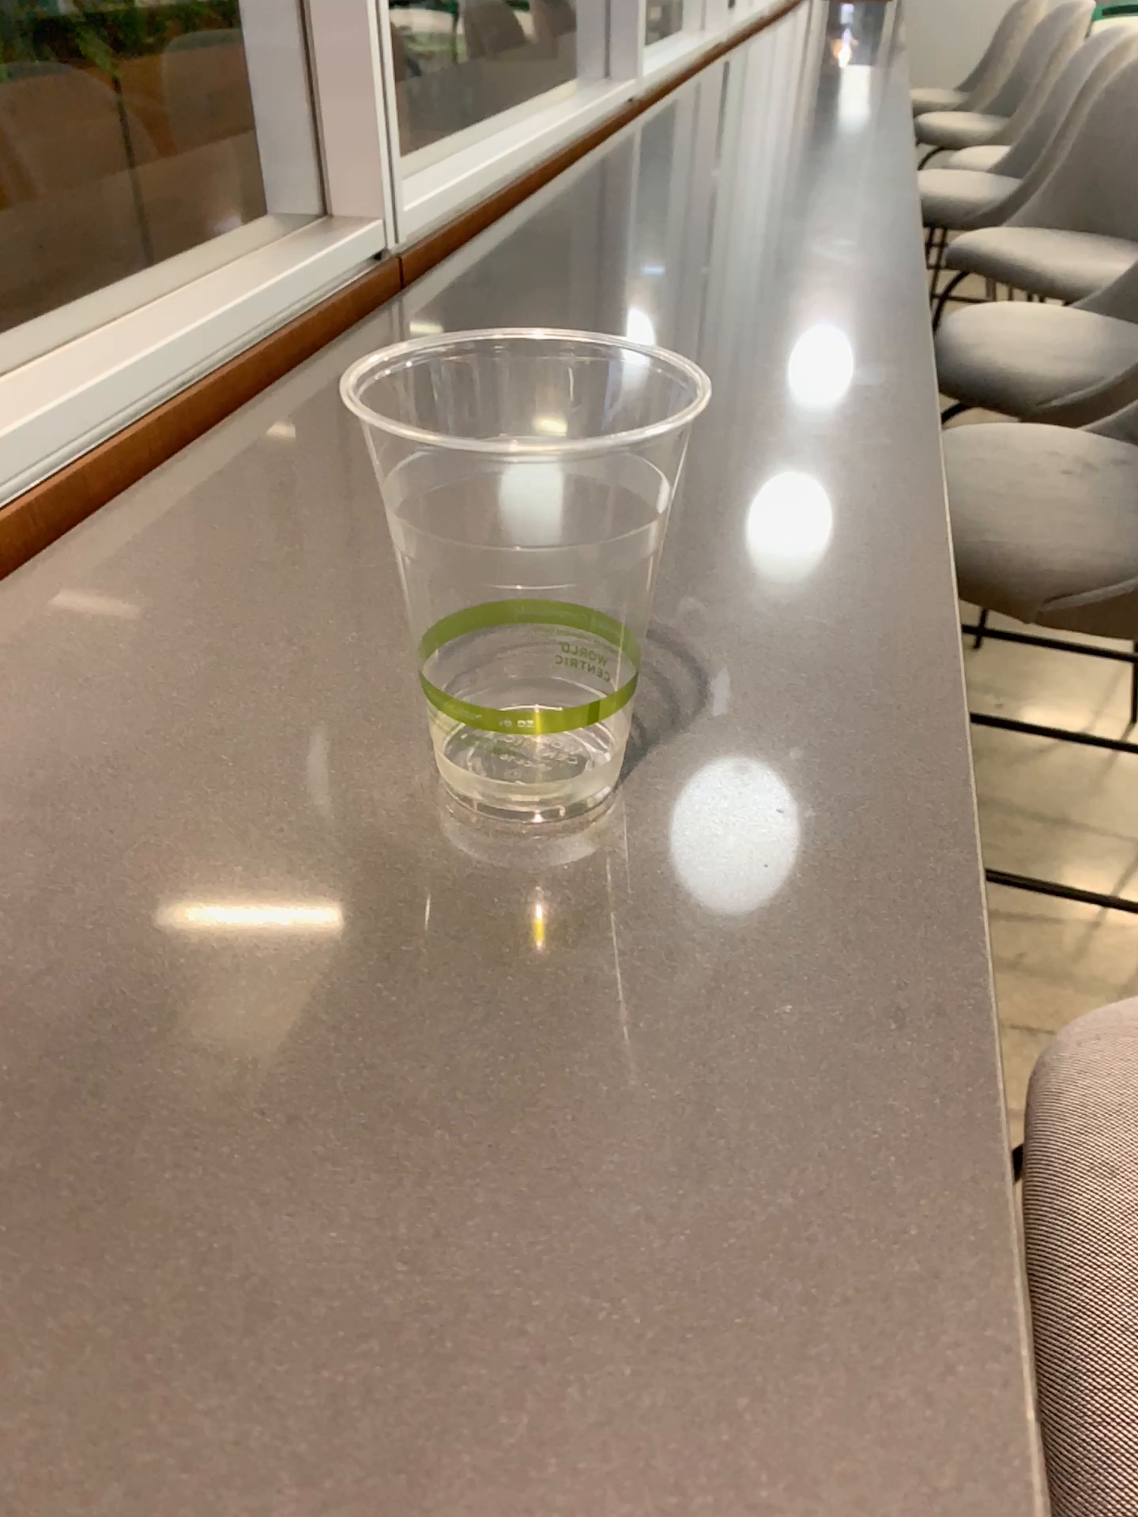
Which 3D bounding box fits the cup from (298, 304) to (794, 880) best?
[{"bbox_3d":[-0.012,-0.056,0.350,0.100,0.119,0.111,-13,37,-19],"label":"cup"}]
